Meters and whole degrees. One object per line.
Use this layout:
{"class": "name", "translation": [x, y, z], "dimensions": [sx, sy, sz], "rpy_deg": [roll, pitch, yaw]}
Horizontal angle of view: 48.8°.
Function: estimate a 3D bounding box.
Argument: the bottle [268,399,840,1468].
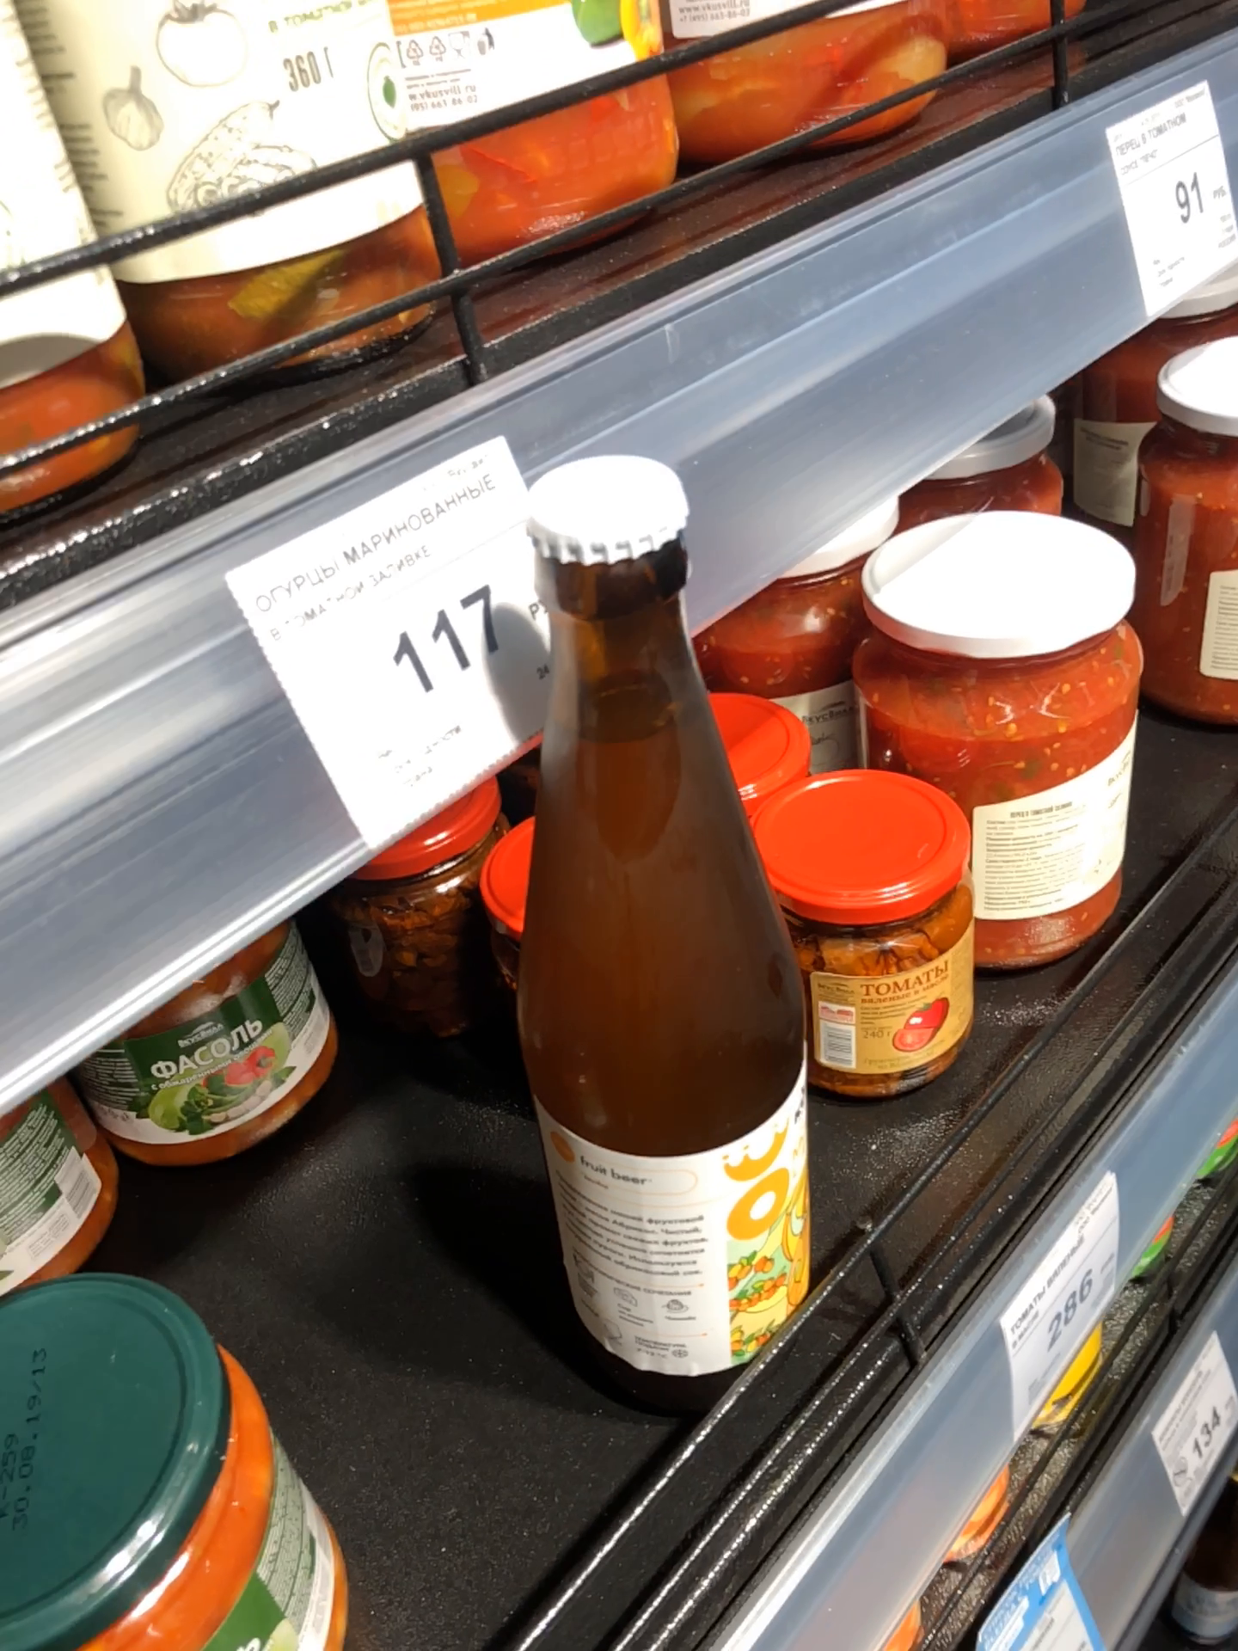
{"class": "bottle", "translation": [0.004, 0.039, 0.307], "dimensions": [0.070, 0.248, 0.070], "rpy_deg": [-6, 37, 4]}
